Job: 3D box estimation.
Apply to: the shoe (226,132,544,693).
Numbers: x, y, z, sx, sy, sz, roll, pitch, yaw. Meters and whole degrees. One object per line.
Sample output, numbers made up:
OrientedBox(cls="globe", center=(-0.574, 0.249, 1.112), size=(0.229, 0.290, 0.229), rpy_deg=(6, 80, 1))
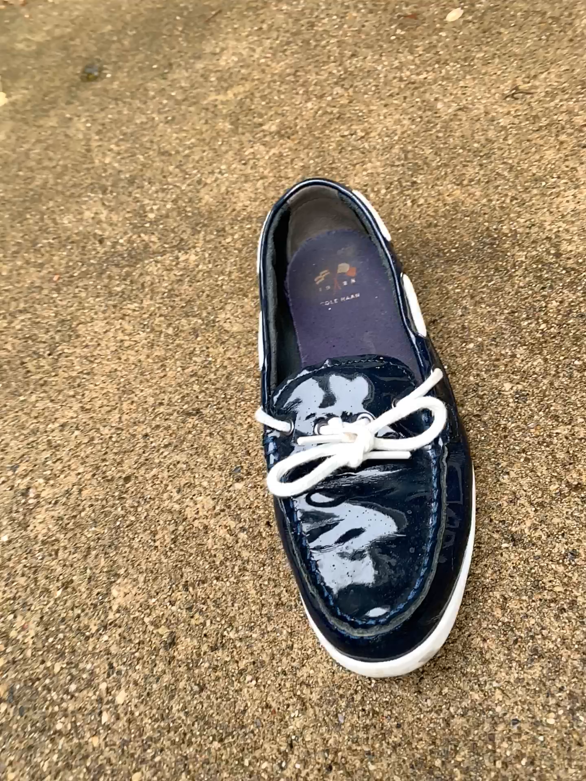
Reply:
OrientedBox(cls="shoe", center=(0.031, 0.000, 0.290), size=(0.101, 0.083, 0.246), rpy_deg=(-11, 57, 12))
